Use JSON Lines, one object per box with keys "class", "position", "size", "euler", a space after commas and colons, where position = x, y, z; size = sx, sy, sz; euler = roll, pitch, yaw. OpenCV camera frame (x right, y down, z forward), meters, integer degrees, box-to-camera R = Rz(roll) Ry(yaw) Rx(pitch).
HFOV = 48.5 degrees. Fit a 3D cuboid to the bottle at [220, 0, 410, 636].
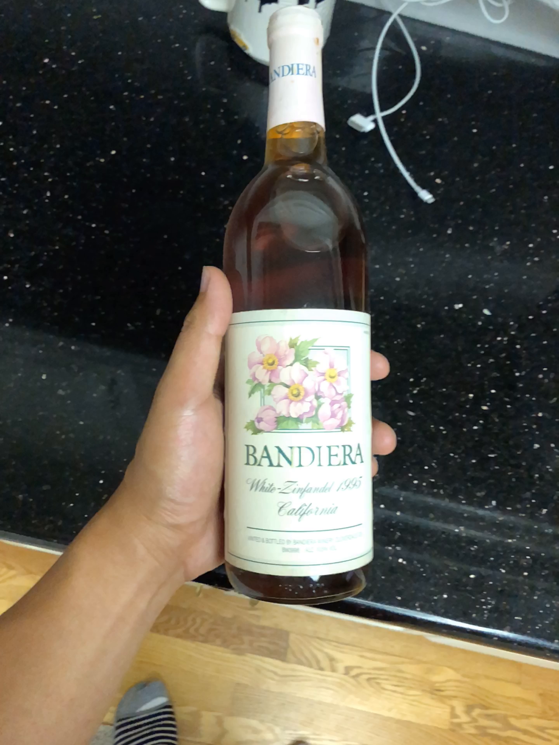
{"class": "bottle", "position": [0.014, -0.036, 0.309], "size": [0.080, 0.070, 0.300], "euler": [1, 87, -7]}
